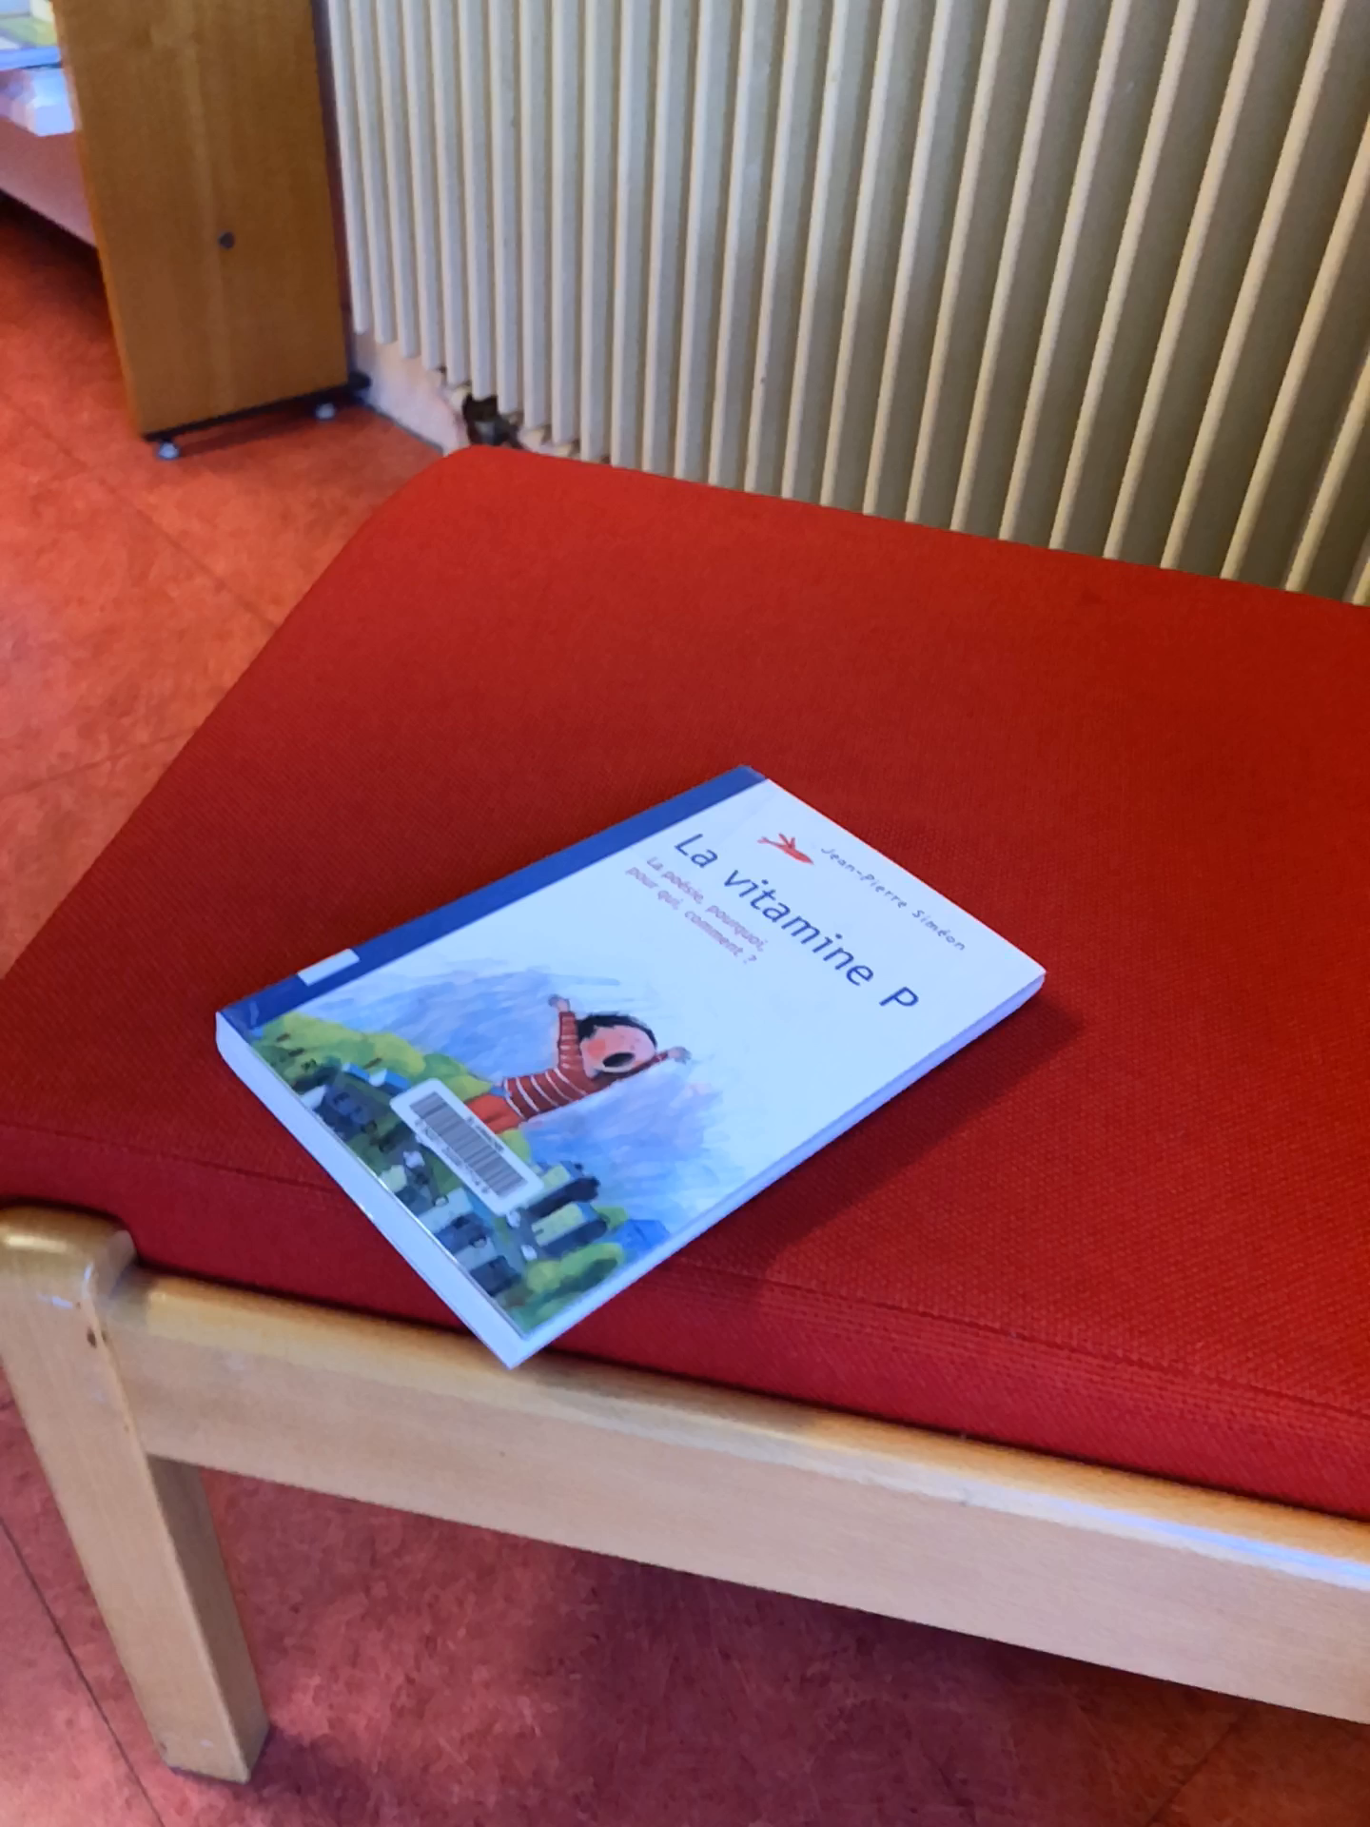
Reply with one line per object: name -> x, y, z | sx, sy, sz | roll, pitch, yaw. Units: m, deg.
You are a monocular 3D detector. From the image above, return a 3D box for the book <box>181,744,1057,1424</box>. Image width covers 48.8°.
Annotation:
book -> -0.015, 0.032, 0.456 | 0.216, 0.027, 0.147 | -29, 51, -32
